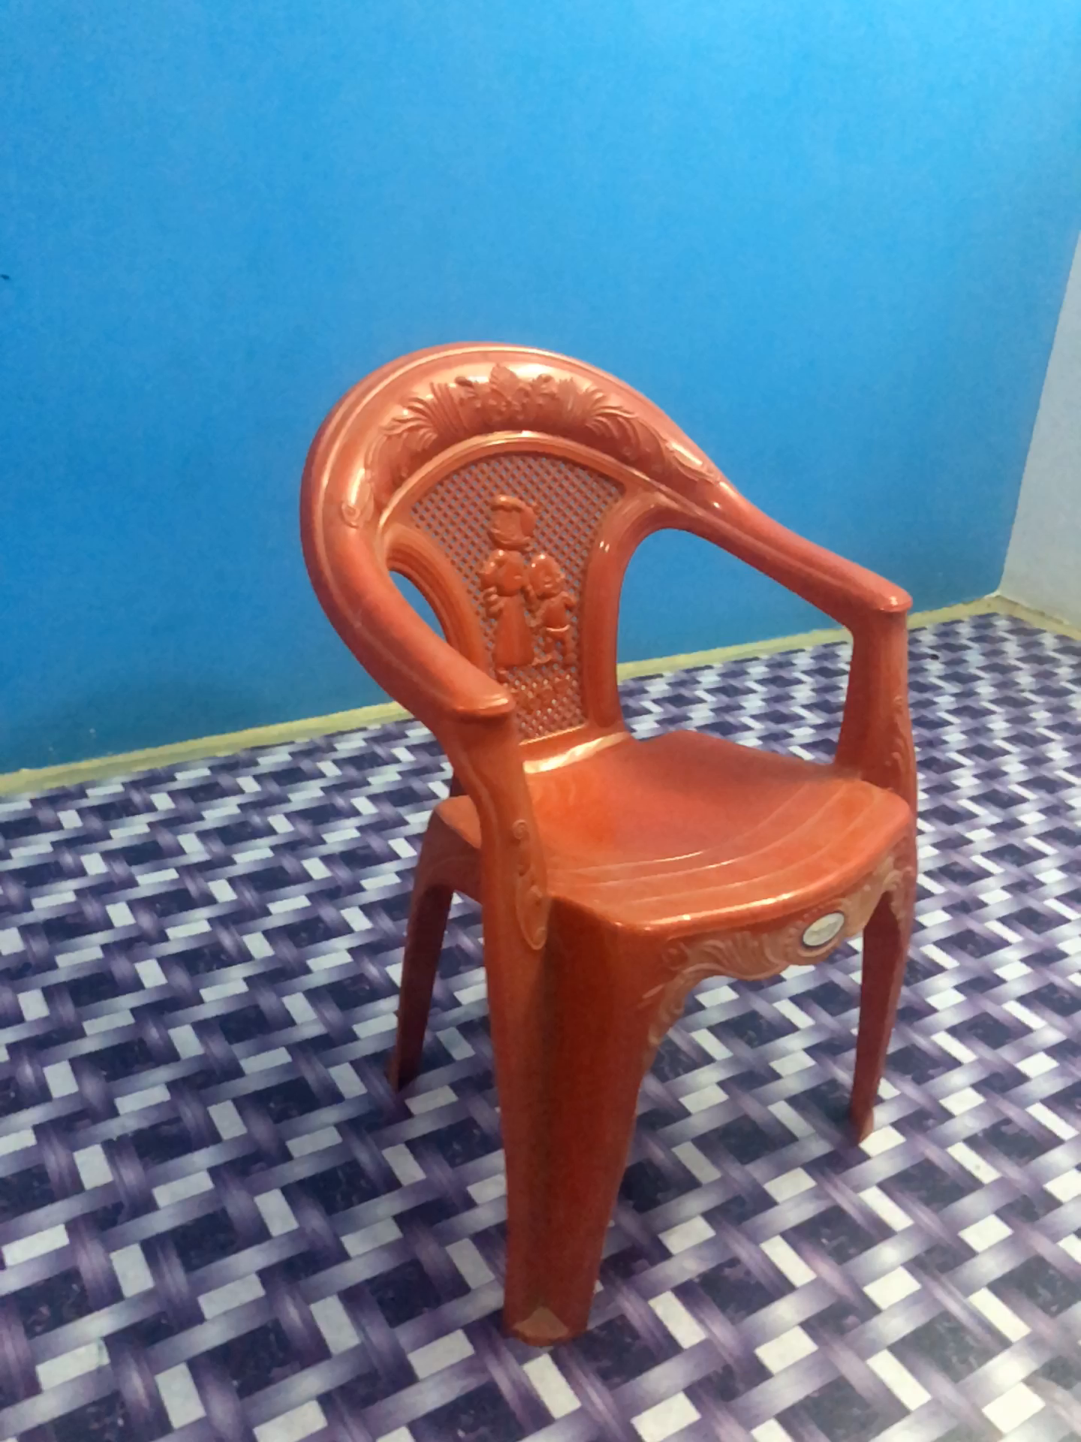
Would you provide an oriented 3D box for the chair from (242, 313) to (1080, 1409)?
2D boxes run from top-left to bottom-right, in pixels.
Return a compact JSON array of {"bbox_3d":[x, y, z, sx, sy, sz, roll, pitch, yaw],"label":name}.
[{"bbox_3d":[0.070,0.034,0.832,0.412,0.557,0.380,-13,29,-36],"label":"chair"}]
